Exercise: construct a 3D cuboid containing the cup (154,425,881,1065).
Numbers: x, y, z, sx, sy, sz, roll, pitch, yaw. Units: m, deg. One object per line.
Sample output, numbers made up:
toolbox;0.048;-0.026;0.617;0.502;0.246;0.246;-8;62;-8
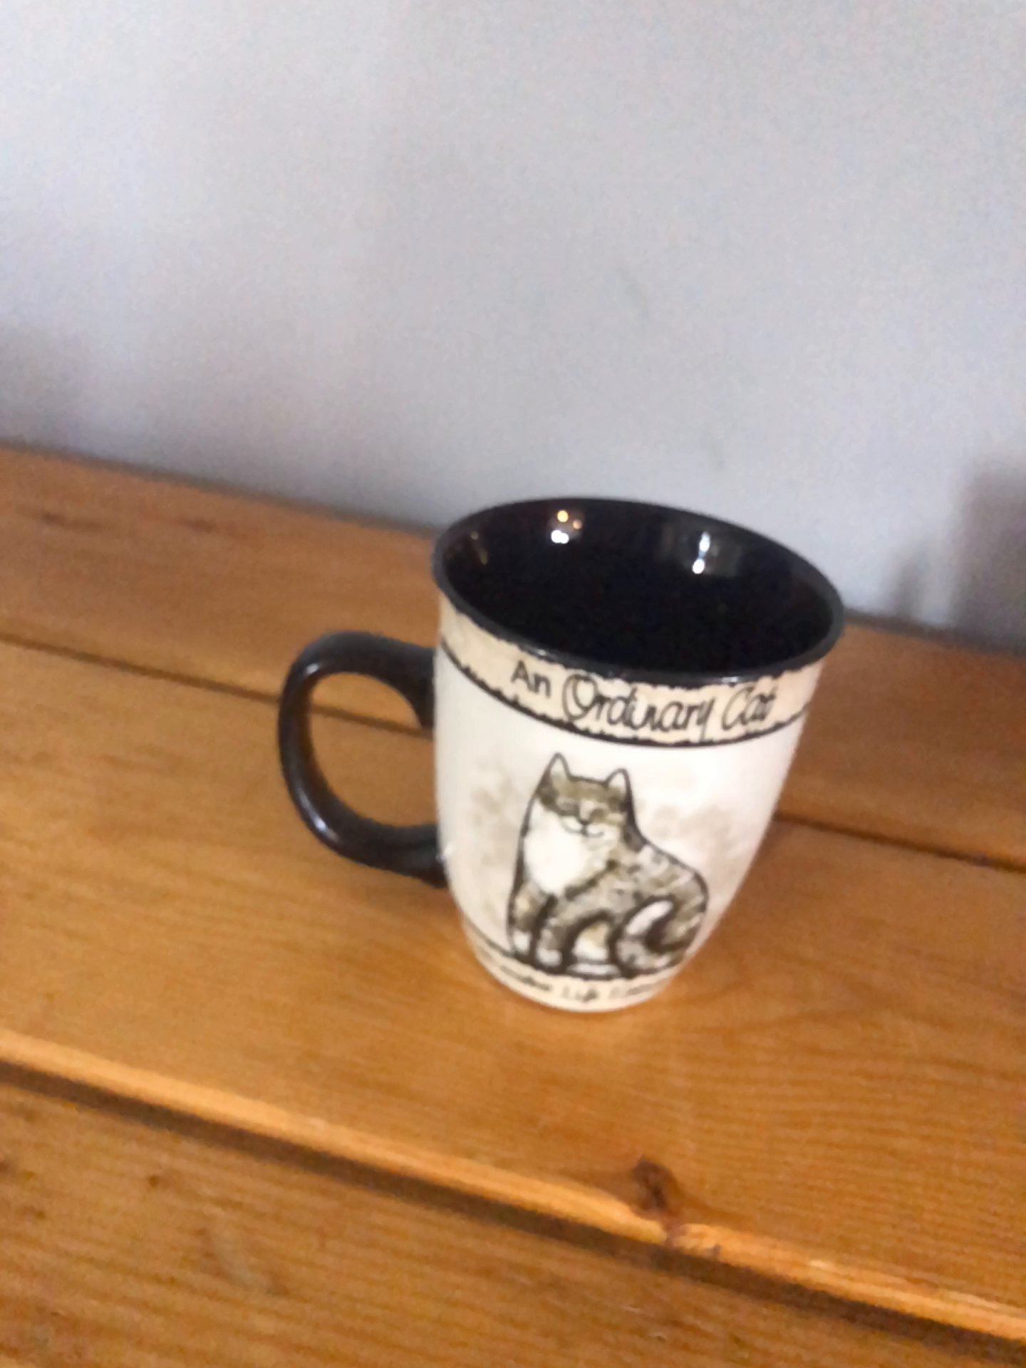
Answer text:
cup;0.000;0.010;0.290;0.140;0.100;0.100;9;32;2
